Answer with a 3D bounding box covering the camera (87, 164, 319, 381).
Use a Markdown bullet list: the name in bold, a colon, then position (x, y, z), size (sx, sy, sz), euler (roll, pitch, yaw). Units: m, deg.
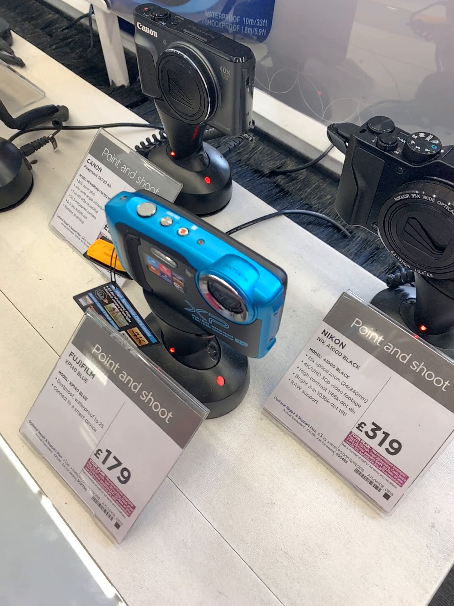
- **camera**: position (-0.014, -0.016, 0.234), size (0.110, 0.060, 0.030), euler (33, 62, 20)
